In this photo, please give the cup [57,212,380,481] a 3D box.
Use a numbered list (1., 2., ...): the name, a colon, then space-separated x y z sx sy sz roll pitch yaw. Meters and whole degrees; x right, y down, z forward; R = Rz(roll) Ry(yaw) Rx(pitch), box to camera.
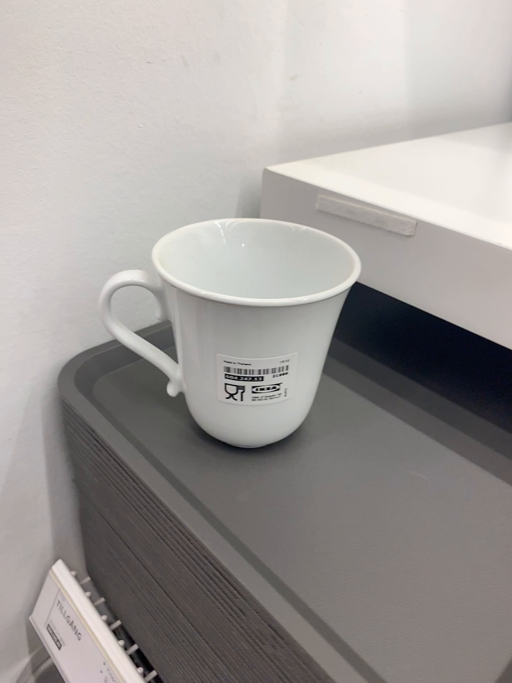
1. cup: -0.022 -0.004 0.282 0.130 0.100 0.100 -1 31 -9
